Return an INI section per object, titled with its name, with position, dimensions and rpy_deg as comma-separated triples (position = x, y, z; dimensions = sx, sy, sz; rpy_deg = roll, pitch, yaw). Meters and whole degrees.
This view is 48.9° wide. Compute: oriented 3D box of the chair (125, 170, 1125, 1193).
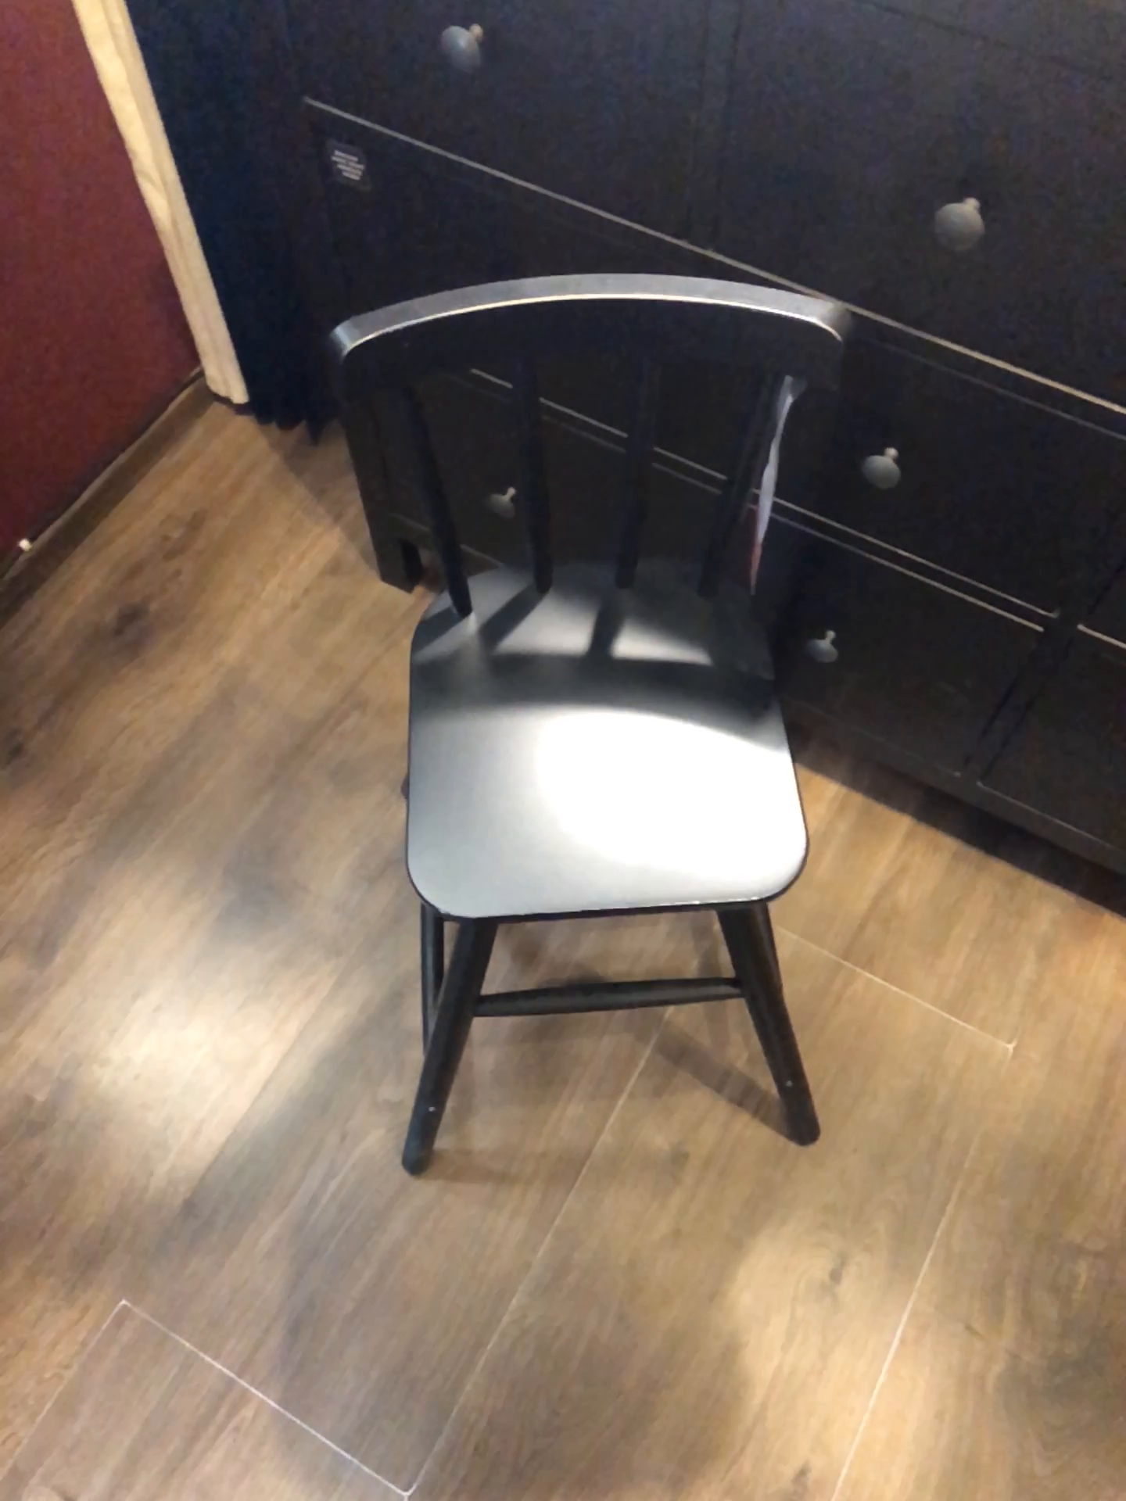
[chair]
position = 0.024, 0.028, 0.974
dimensions = 0.450, 0.717, 0.472
rpy_deg = -4, 62, -1
